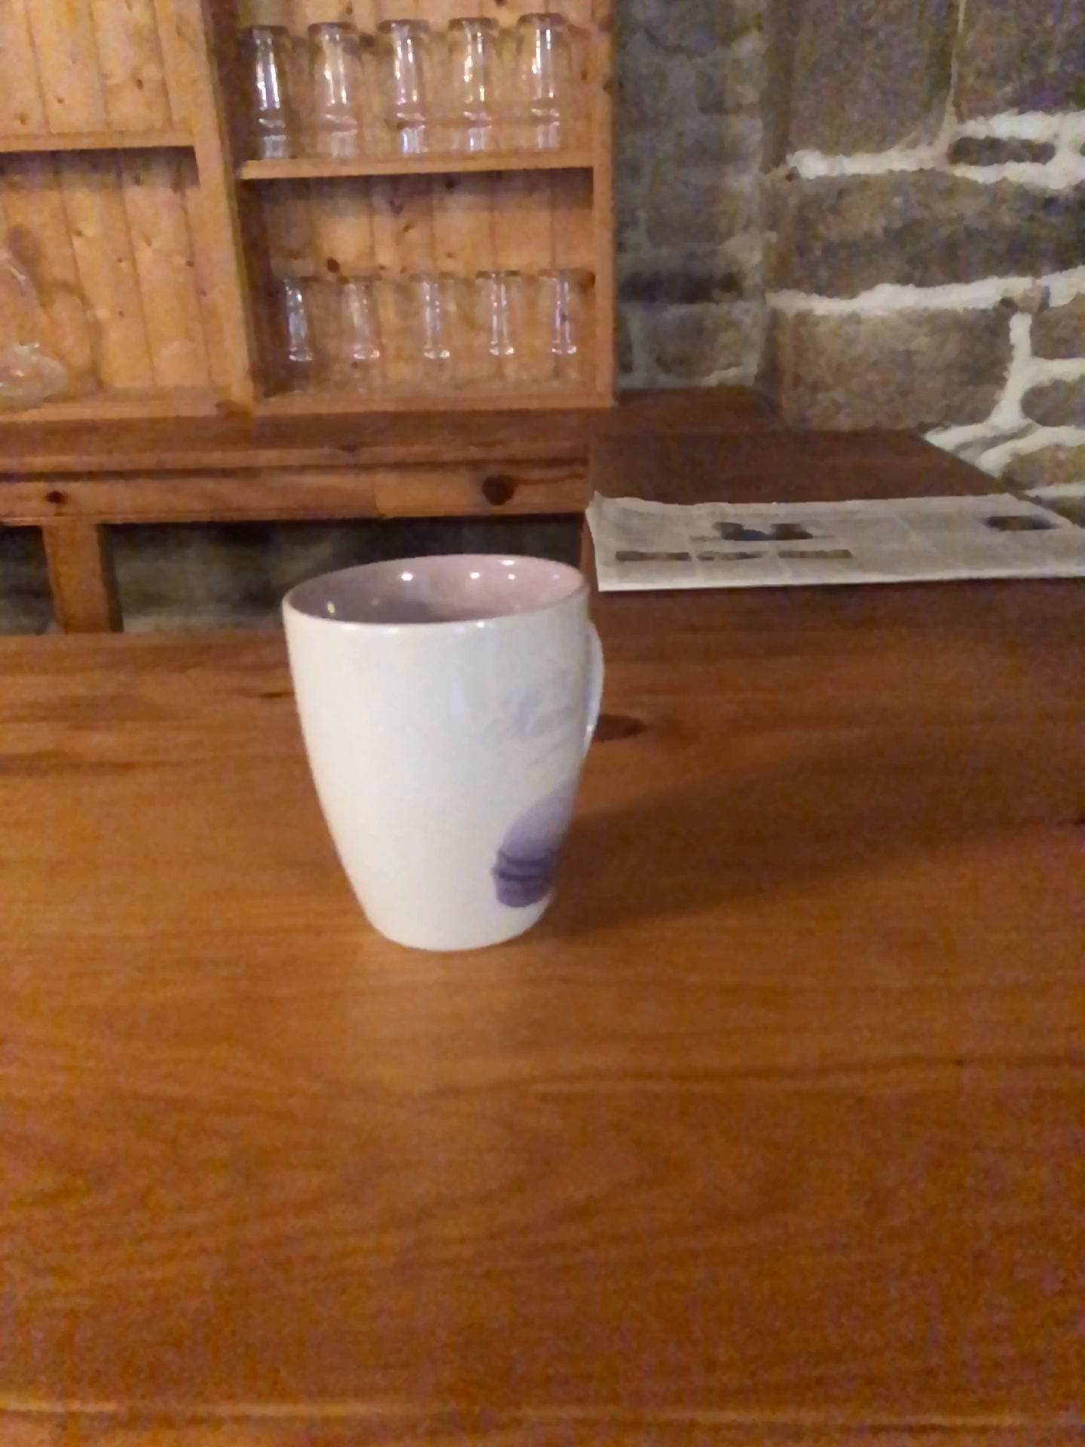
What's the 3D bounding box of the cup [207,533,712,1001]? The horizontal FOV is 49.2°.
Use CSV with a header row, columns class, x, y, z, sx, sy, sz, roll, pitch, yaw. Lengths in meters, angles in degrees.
class,x,y,z,sx,sy,sz,roll,pitch,yaw
cup,-0.020,0.002,0.374,0.100,0.096,0.121,11,23,31
